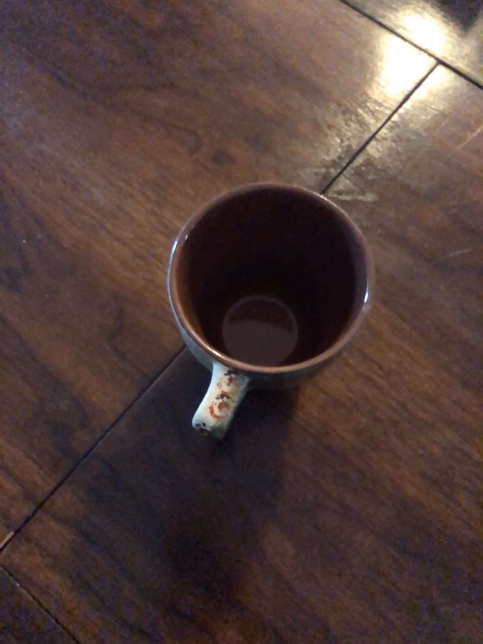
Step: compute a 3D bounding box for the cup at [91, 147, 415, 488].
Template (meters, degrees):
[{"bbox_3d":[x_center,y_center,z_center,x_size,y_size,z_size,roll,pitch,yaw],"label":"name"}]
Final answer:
[{"bbox_3d":[0.008,0.006,0.298,0.100,0.110,0.130,27,73,7],"label":"cup"}]
